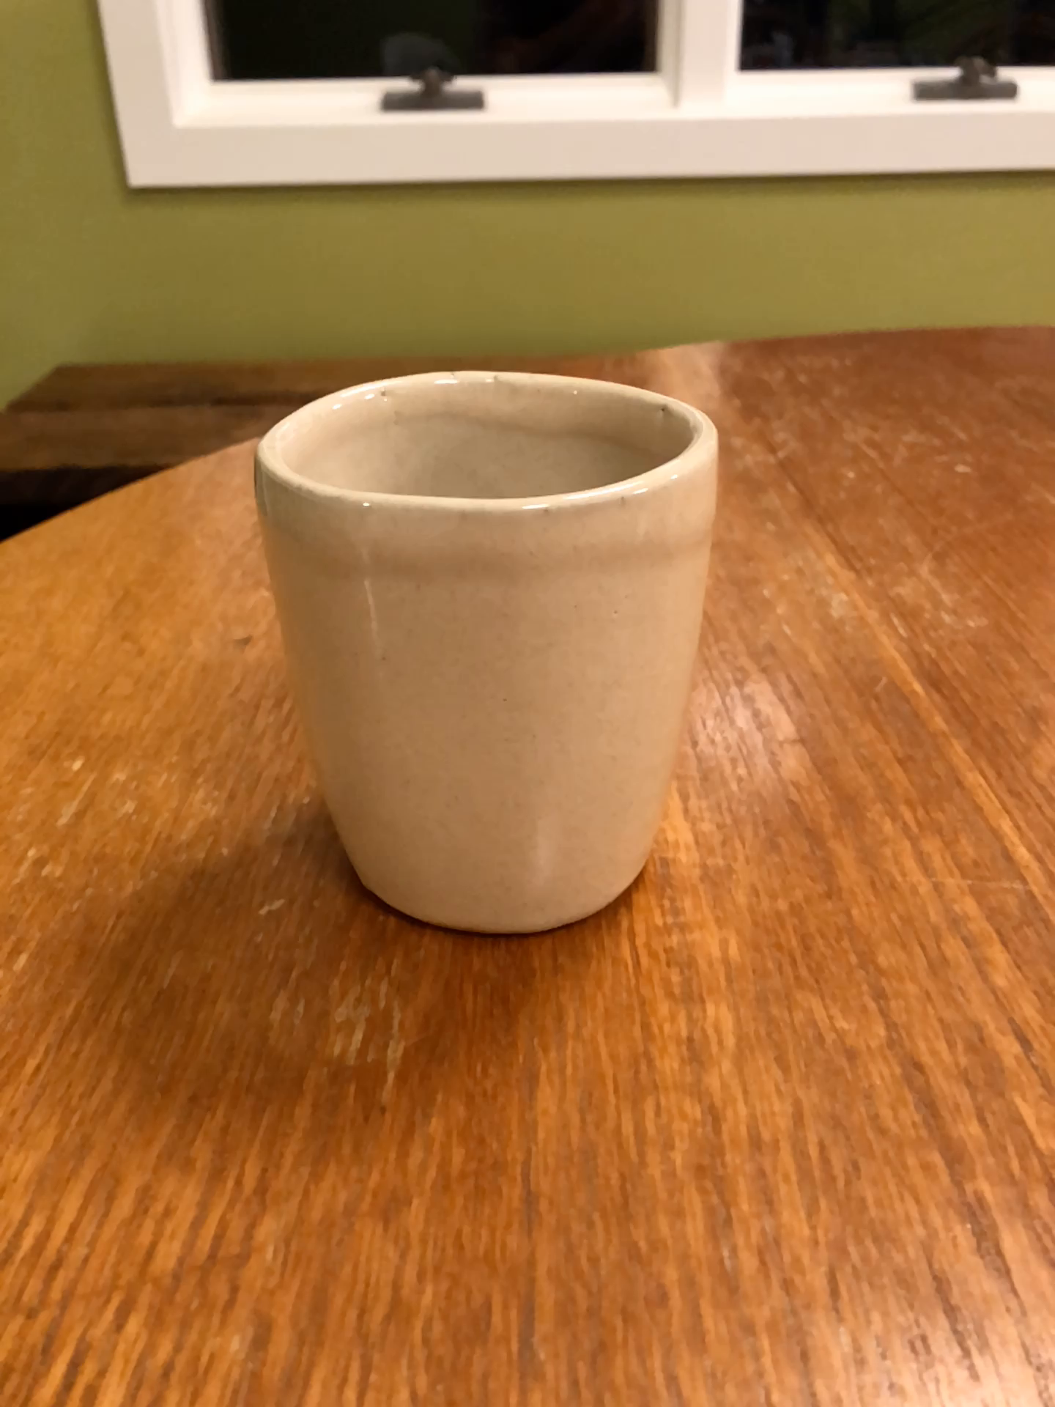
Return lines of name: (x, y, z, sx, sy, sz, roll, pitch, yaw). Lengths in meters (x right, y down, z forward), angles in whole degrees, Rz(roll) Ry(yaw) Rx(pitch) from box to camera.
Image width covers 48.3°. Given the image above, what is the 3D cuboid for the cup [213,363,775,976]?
cup: (-0.008, -0.012, 0.231, 0.084, 0.086, 0.083, -1, 29, 1)
